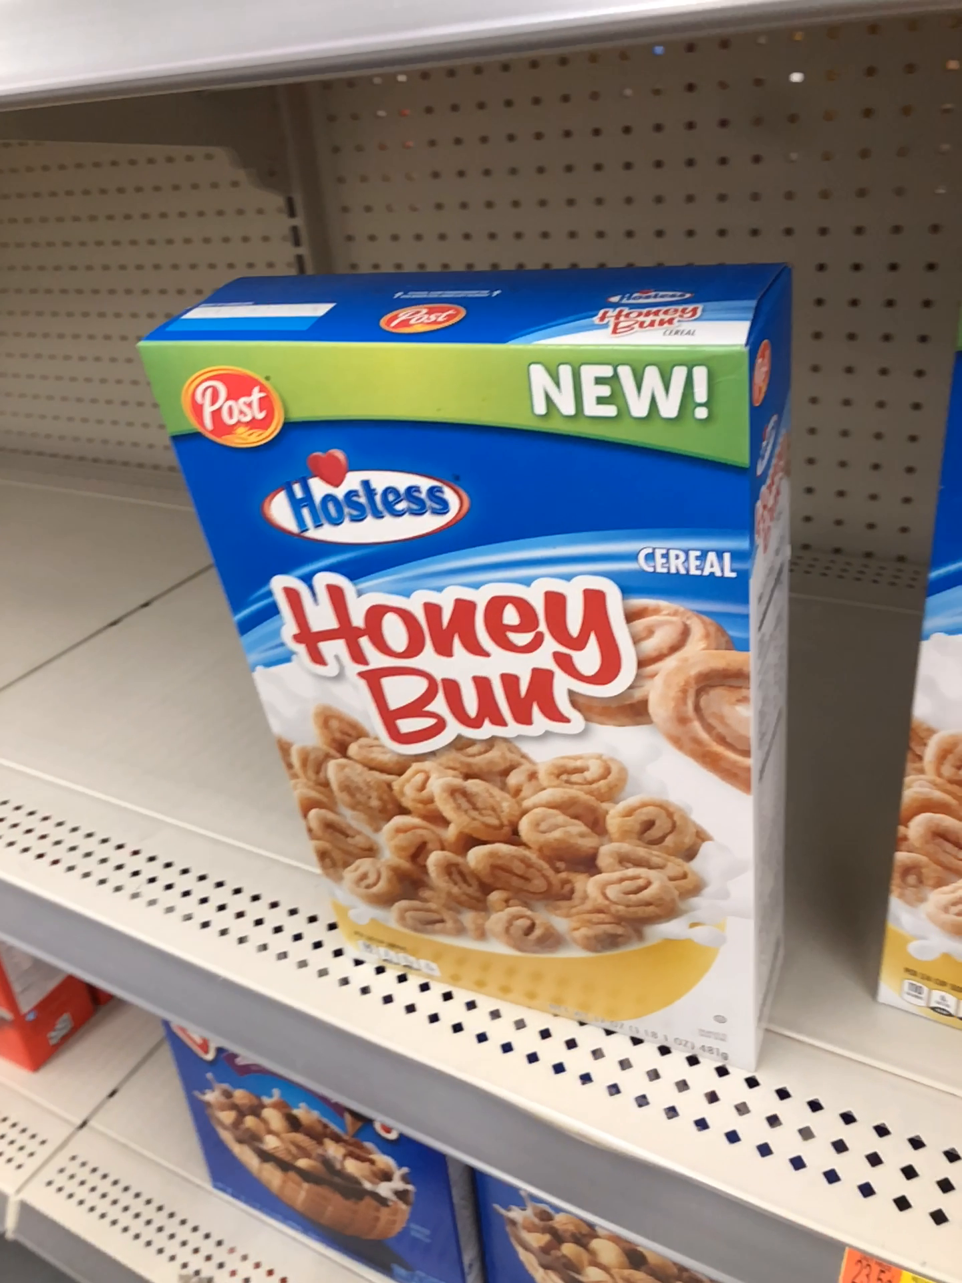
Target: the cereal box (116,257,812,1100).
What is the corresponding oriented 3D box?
[{"bbox_3d":[0.011,0.025,0.399,0.200,0.309,0.060,8,38,25],"label":"cereal box"}]
